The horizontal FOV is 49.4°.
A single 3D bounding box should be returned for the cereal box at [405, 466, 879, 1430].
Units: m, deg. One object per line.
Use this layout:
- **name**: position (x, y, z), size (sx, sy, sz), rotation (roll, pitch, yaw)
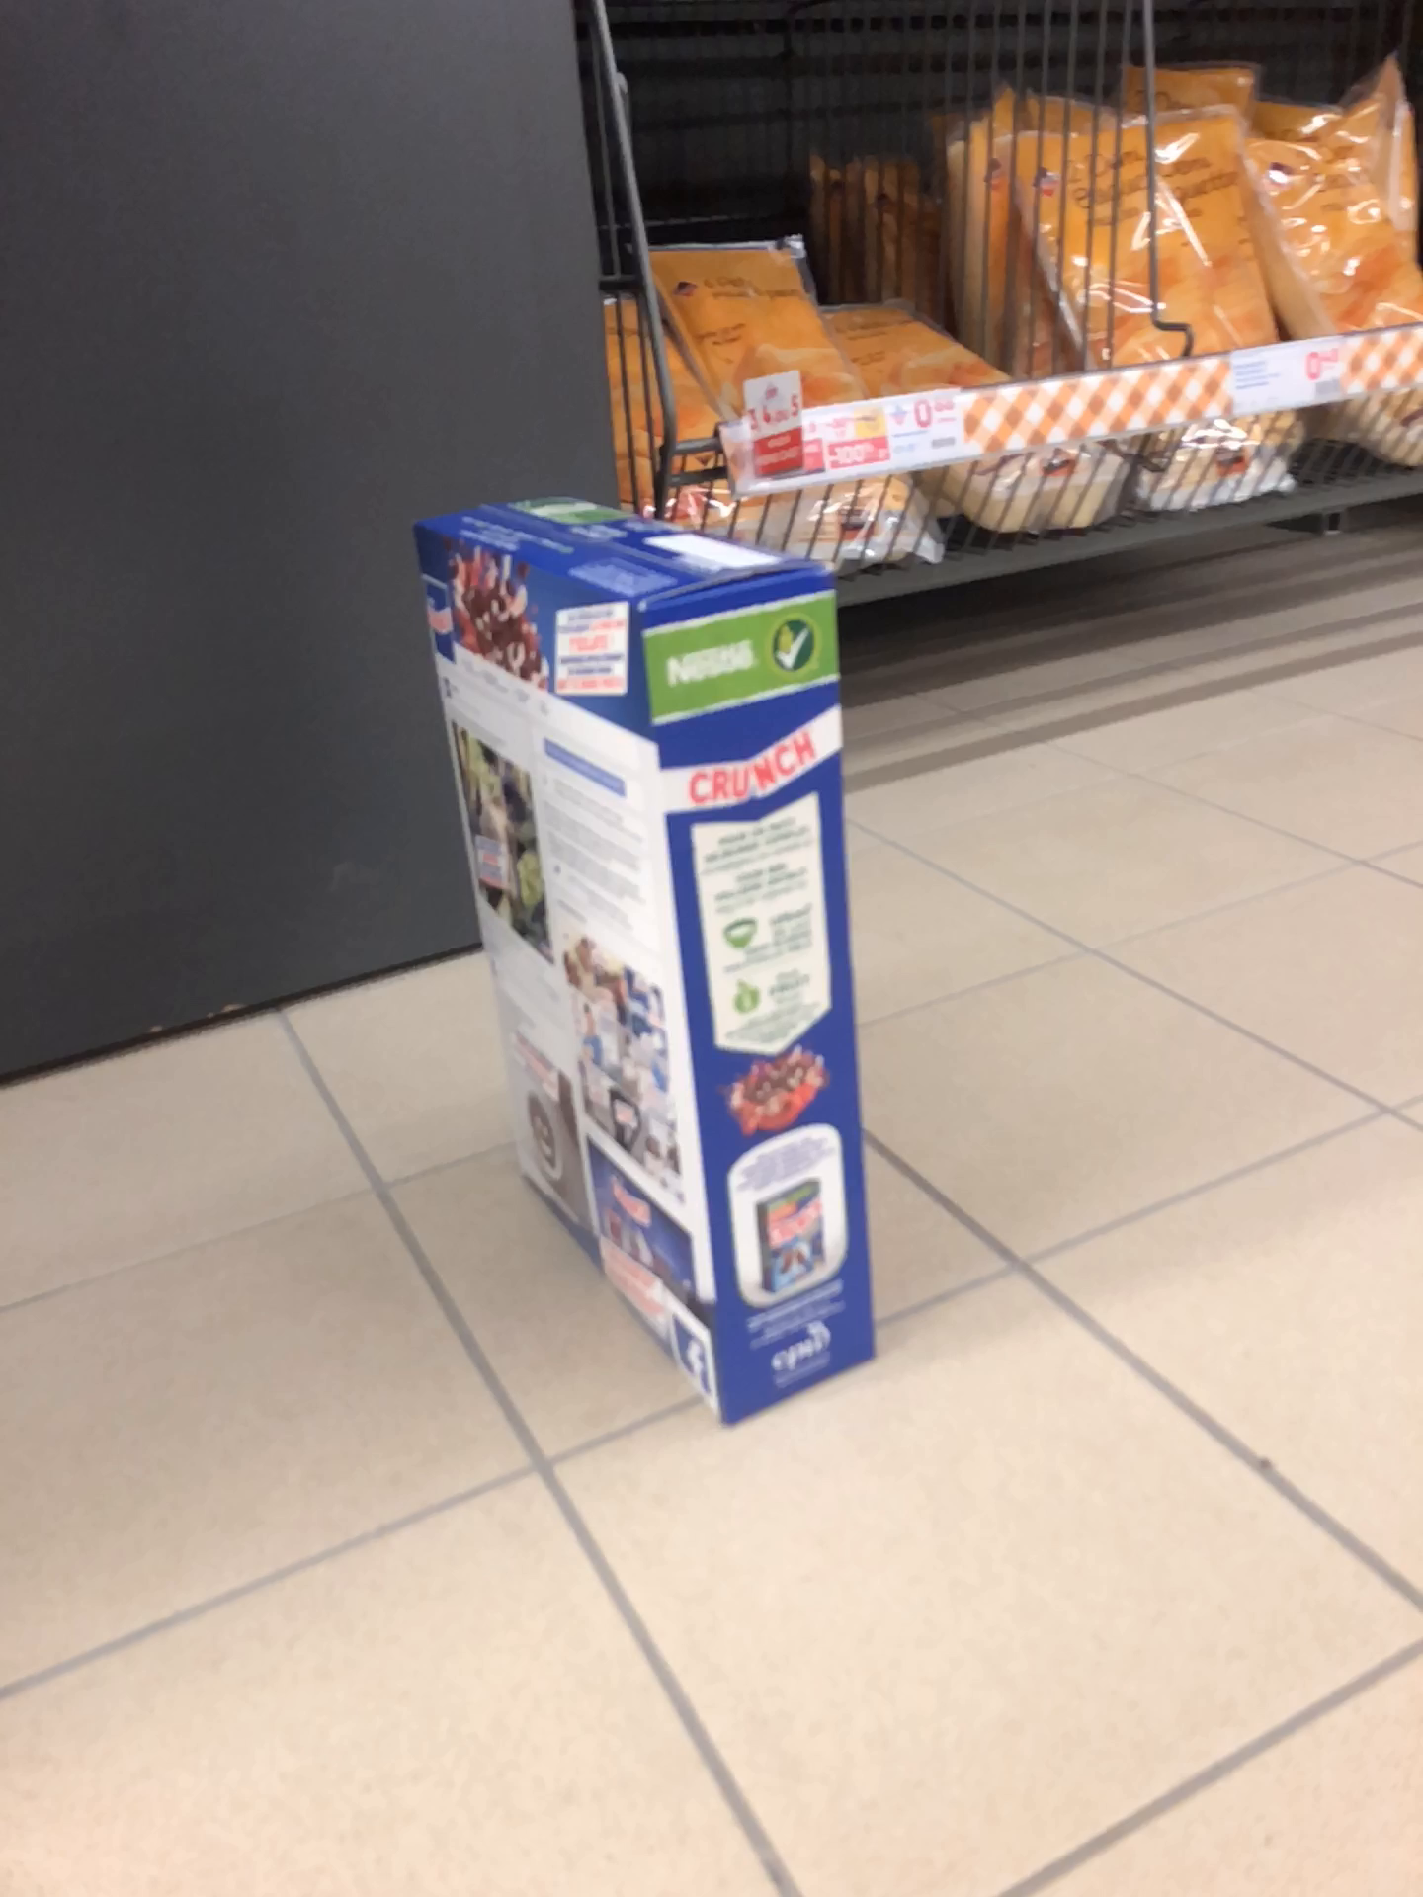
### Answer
- **cereal box**: position (-0.025, -0.010, 0.554), size (0.070, 0.288, 0.190), rotation (-16, 27, -25)
